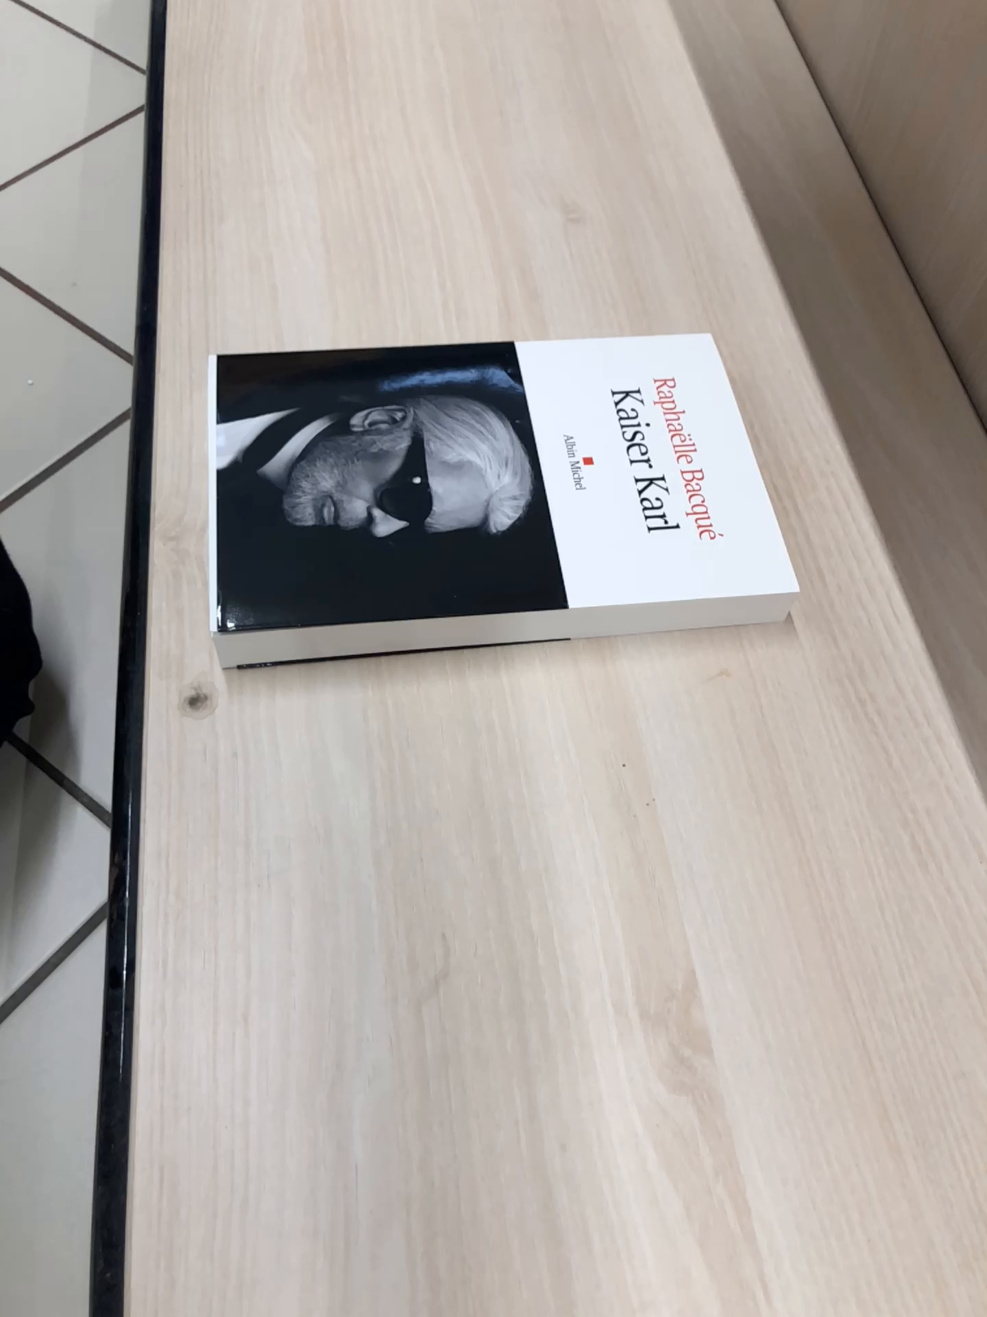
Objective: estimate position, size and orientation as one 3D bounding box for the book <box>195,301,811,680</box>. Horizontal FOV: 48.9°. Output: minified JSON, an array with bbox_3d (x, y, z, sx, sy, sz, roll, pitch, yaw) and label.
[{"bbox_3d":[-0.003,-0.074,0.436,0.220,0.030,0.150,-5,61,-9],"label":"book"}]
